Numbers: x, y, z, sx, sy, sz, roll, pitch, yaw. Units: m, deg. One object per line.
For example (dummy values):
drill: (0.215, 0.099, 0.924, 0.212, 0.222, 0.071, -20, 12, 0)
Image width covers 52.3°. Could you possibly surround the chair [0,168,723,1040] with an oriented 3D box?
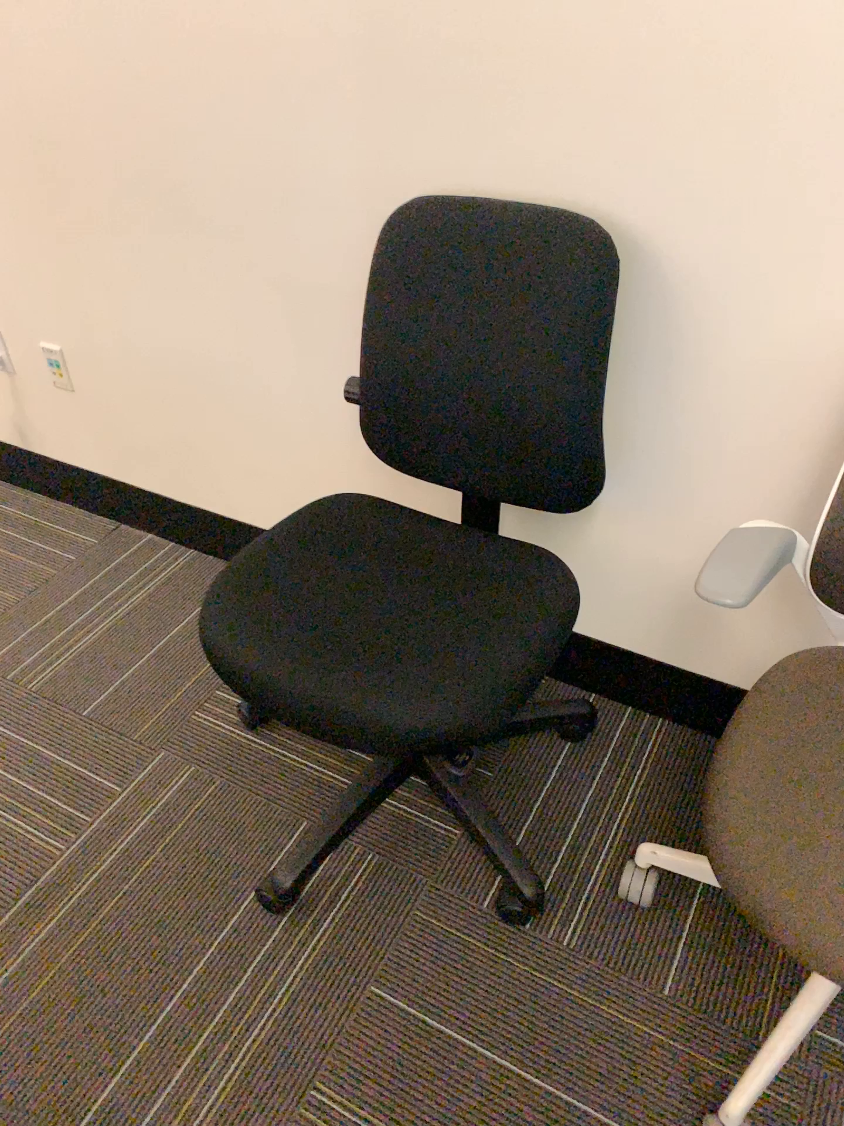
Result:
chair: (-0.041, 0.030, 1.368, 0.682, 0.994, 0.743, 17, 43, 22)
